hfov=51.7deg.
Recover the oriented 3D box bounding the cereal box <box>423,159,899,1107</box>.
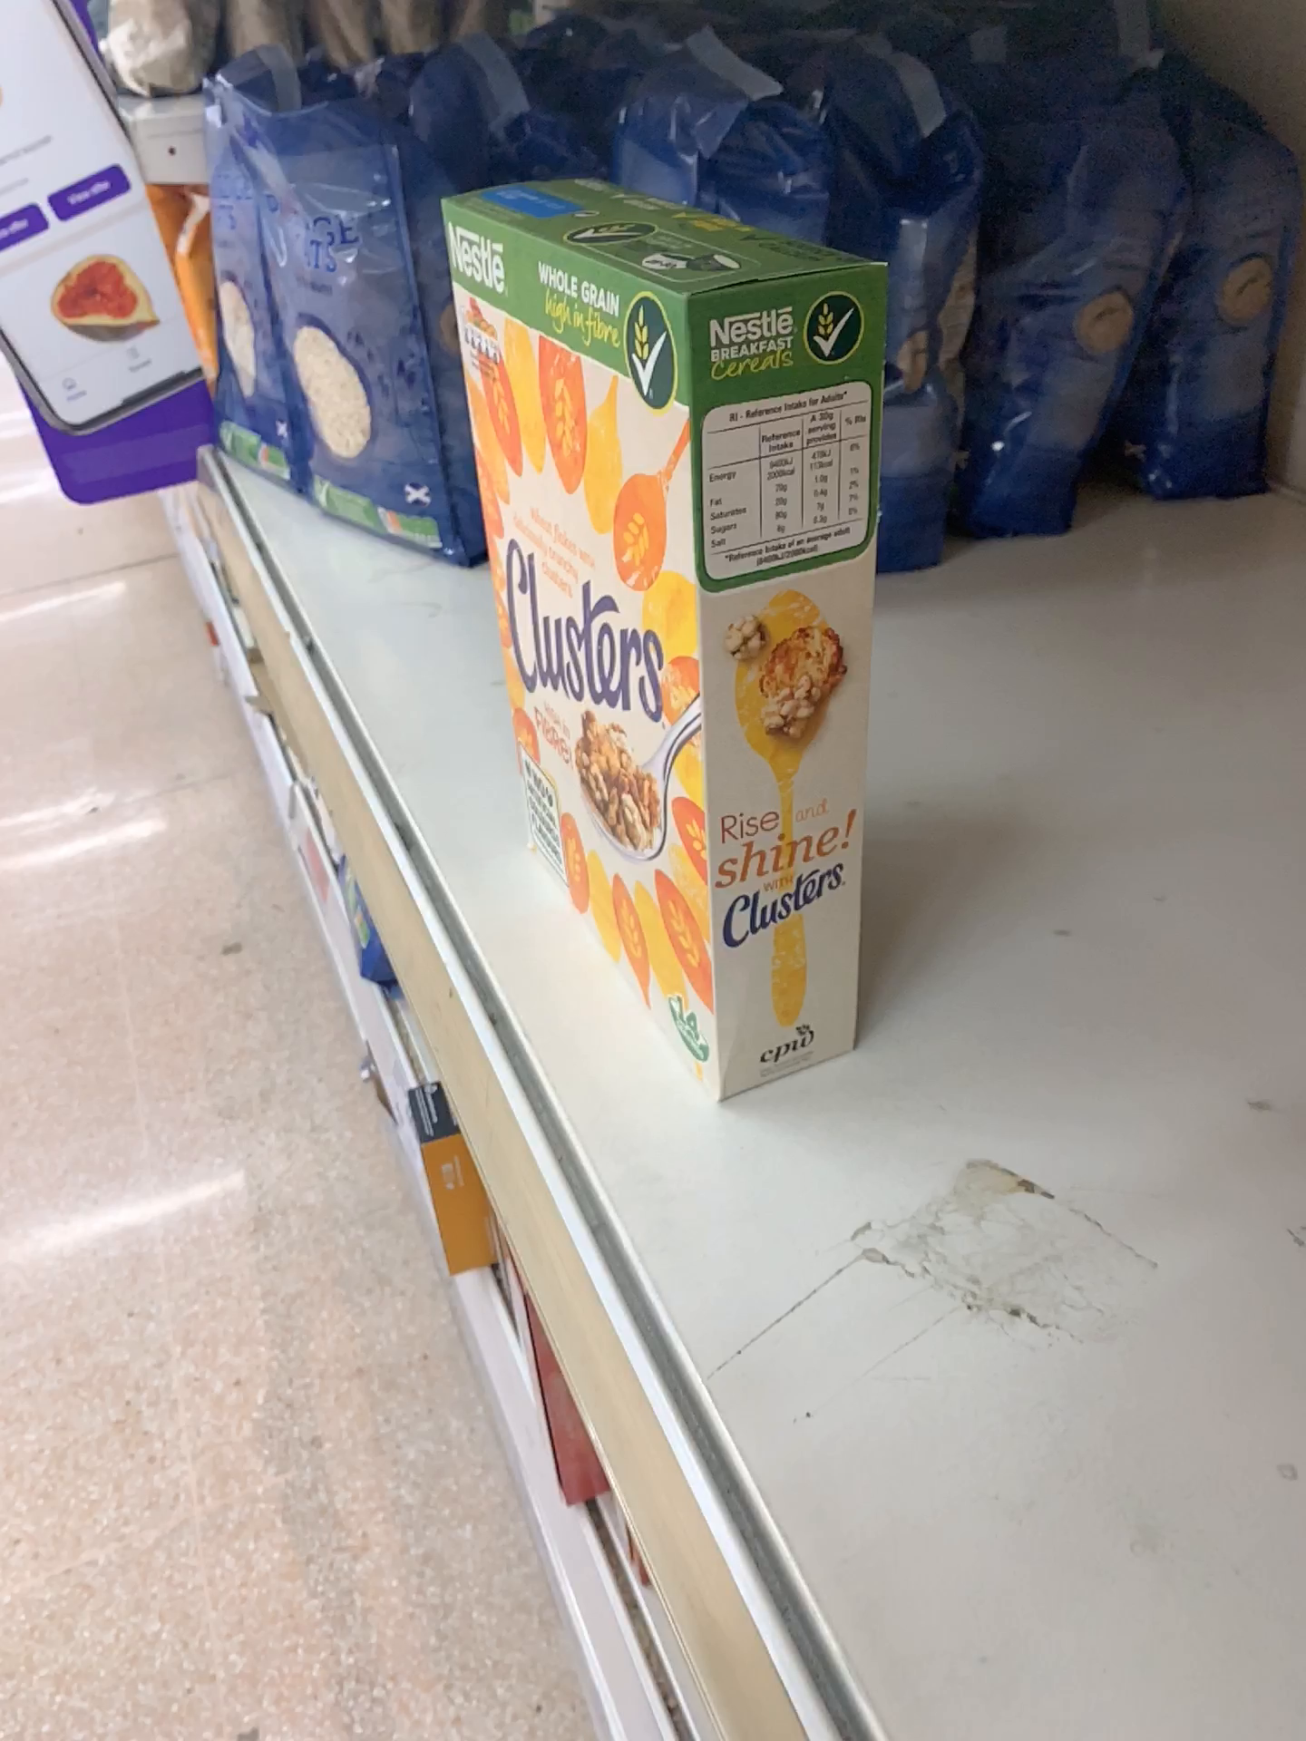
[{"bbox_3d":[-0.002,-0.087,0.475,0.060,0.267,0.202,-17,37,-19],"label":"cereal box"}]
